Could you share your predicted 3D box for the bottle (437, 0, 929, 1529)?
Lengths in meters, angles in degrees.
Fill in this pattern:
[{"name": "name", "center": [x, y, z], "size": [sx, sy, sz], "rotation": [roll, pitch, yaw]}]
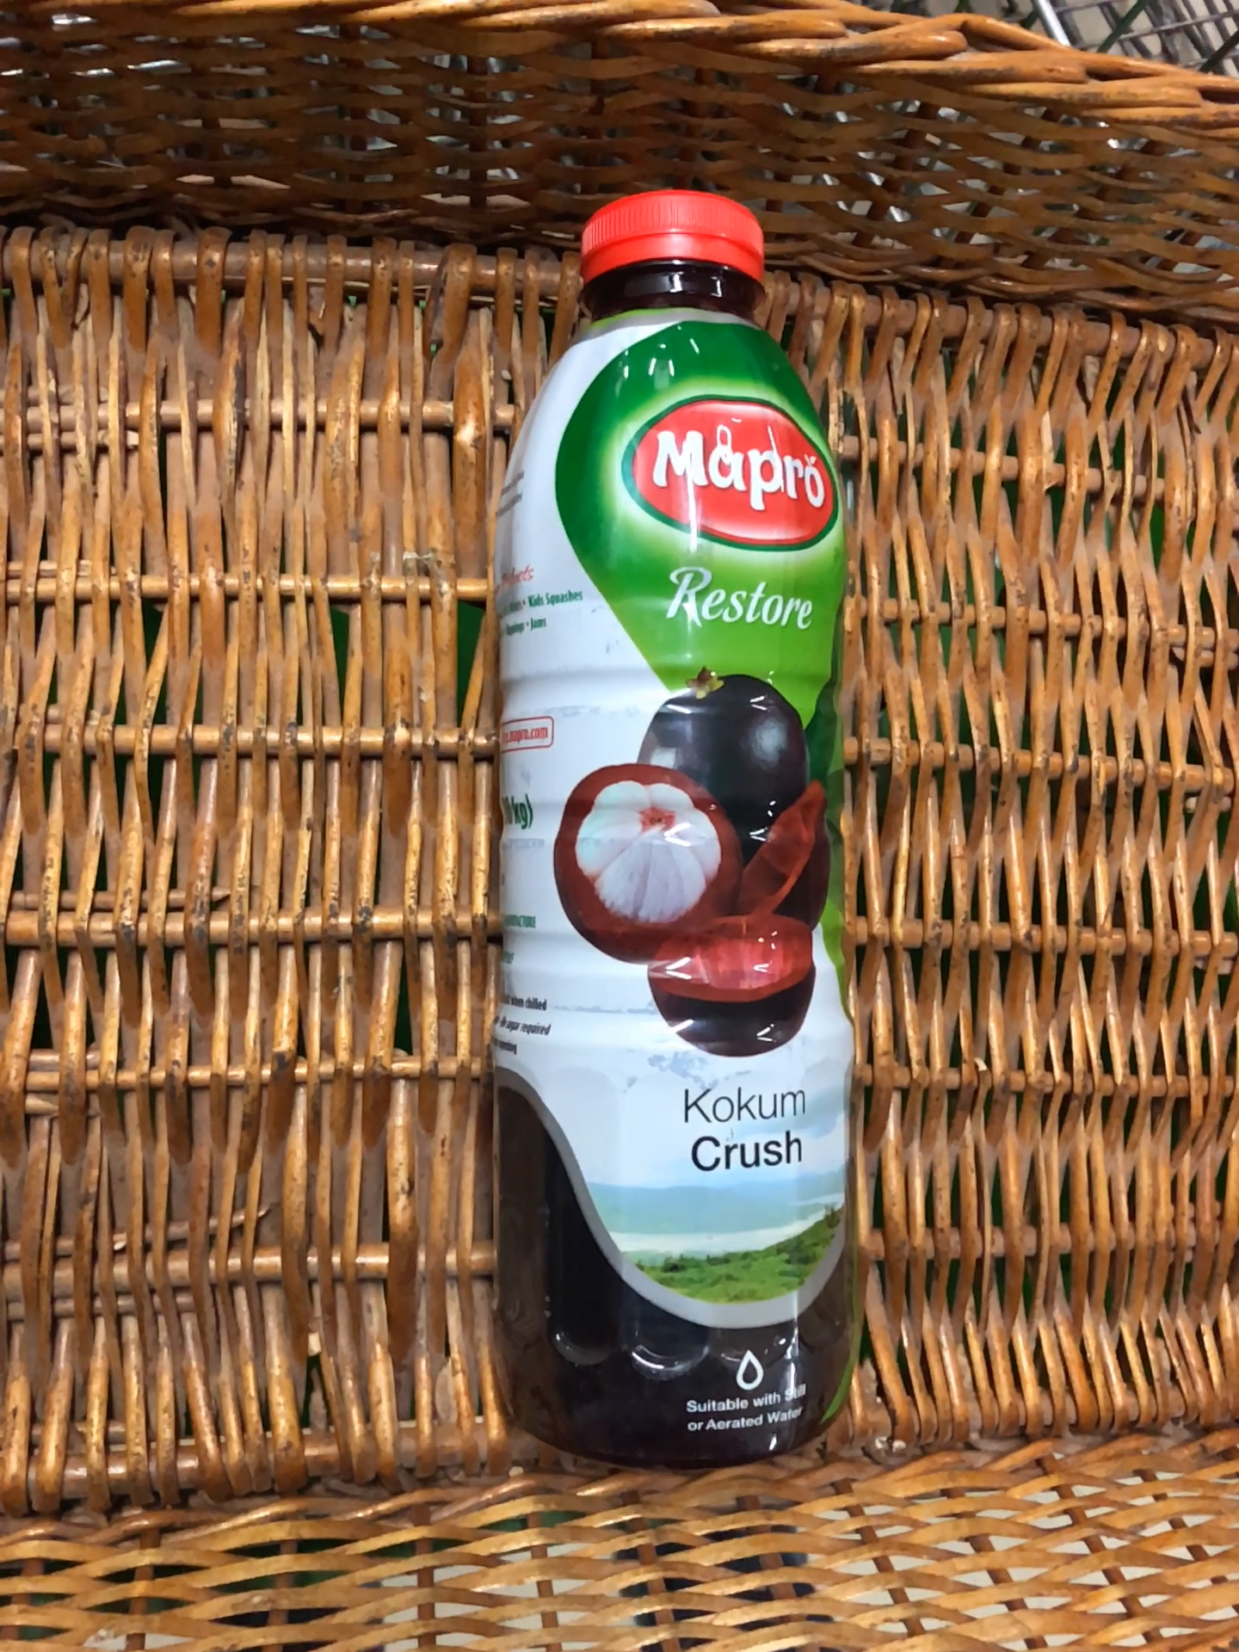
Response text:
[{"name": "bottle", "center": [0.007, -0.015, 0.285], "size": [0.080, 0.080, 0.270], "rotation": [0, 88, -14]}]
